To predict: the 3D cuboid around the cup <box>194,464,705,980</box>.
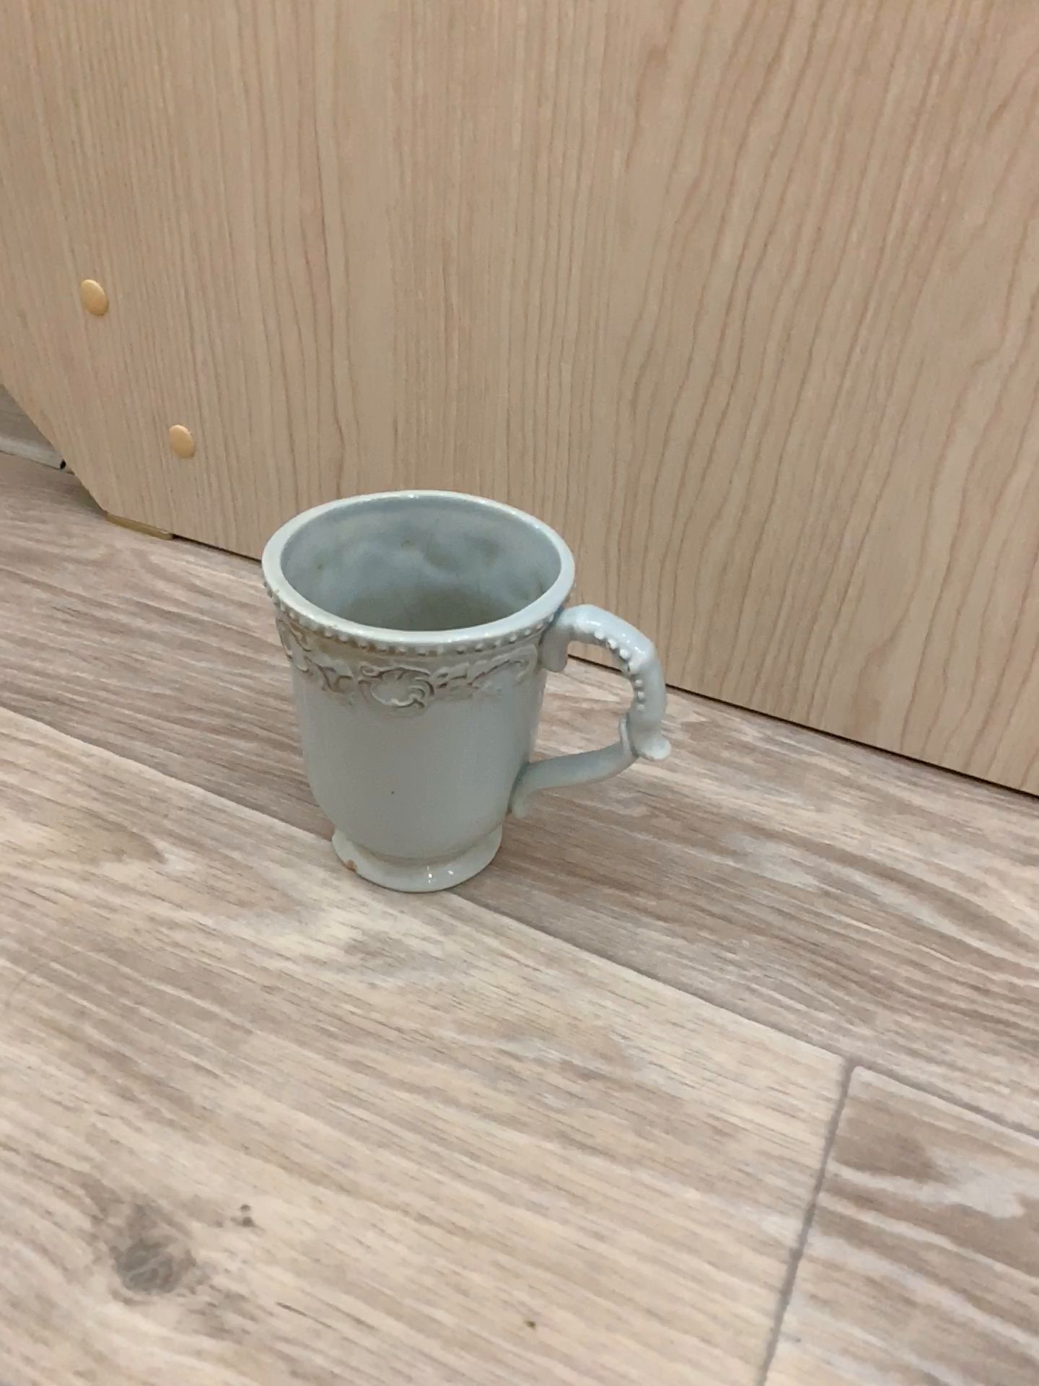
[{"bbox_3d":[-0.018,0.004,0.325,0.118,0.102,0.083,14,36,14],"label":"cup"}]
